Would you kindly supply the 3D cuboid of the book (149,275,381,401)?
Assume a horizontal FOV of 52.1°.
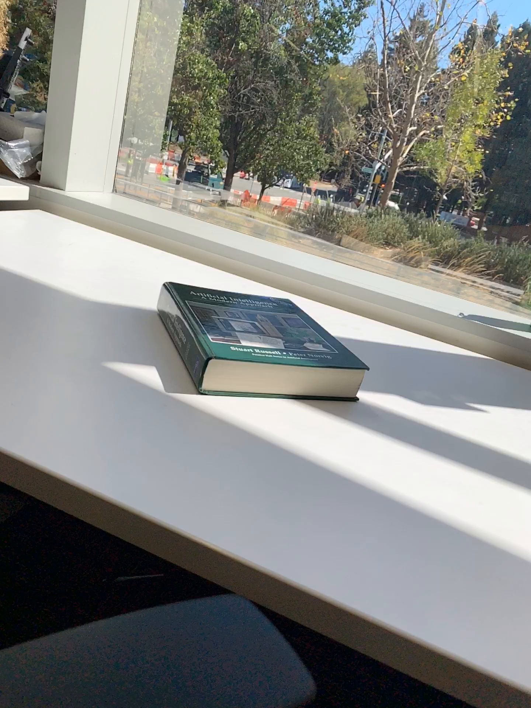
[{"bbox_3d":[-0.016,-0.028,0.727,0.230,0.050,0.261,5,22,-24],"label":"book"}]
